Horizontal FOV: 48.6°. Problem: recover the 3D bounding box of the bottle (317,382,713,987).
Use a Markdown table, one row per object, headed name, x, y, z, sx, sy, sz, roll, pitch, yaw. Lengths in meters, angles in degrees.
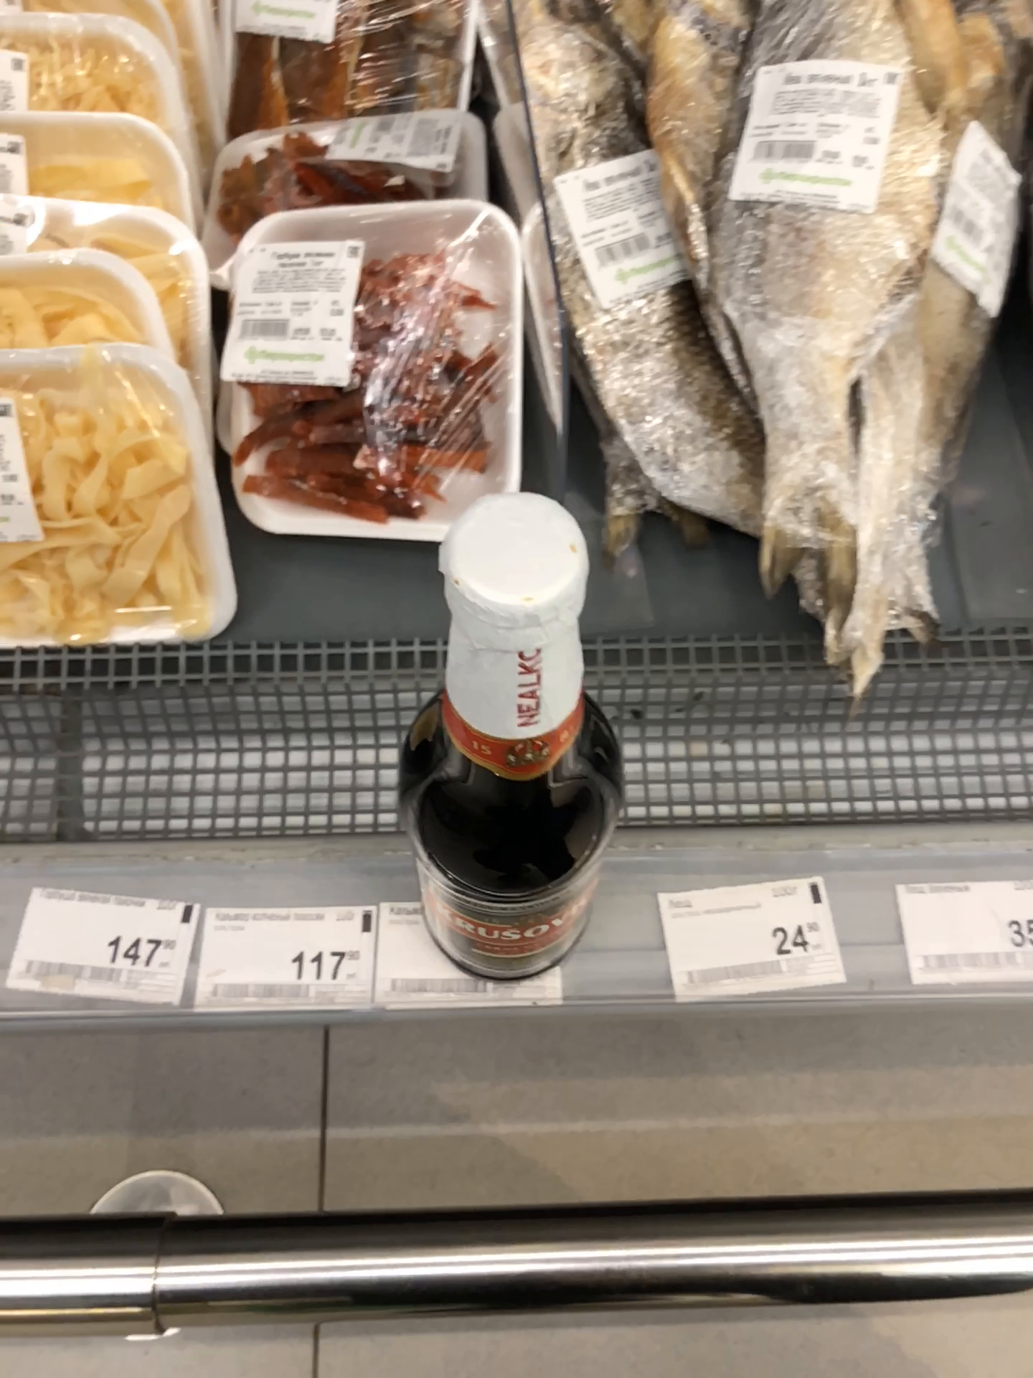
| name | x | y | z | sx | sy | sz | roll | pitch | yaw |
| --- | --- | --- | --- | --- | --- | --- | --- | --- | --- |
| bottle | -0.004 | 0.027 | 0.342 | 0.070 | 0.269 | 0.070 | 0 | 66 | -1 |
